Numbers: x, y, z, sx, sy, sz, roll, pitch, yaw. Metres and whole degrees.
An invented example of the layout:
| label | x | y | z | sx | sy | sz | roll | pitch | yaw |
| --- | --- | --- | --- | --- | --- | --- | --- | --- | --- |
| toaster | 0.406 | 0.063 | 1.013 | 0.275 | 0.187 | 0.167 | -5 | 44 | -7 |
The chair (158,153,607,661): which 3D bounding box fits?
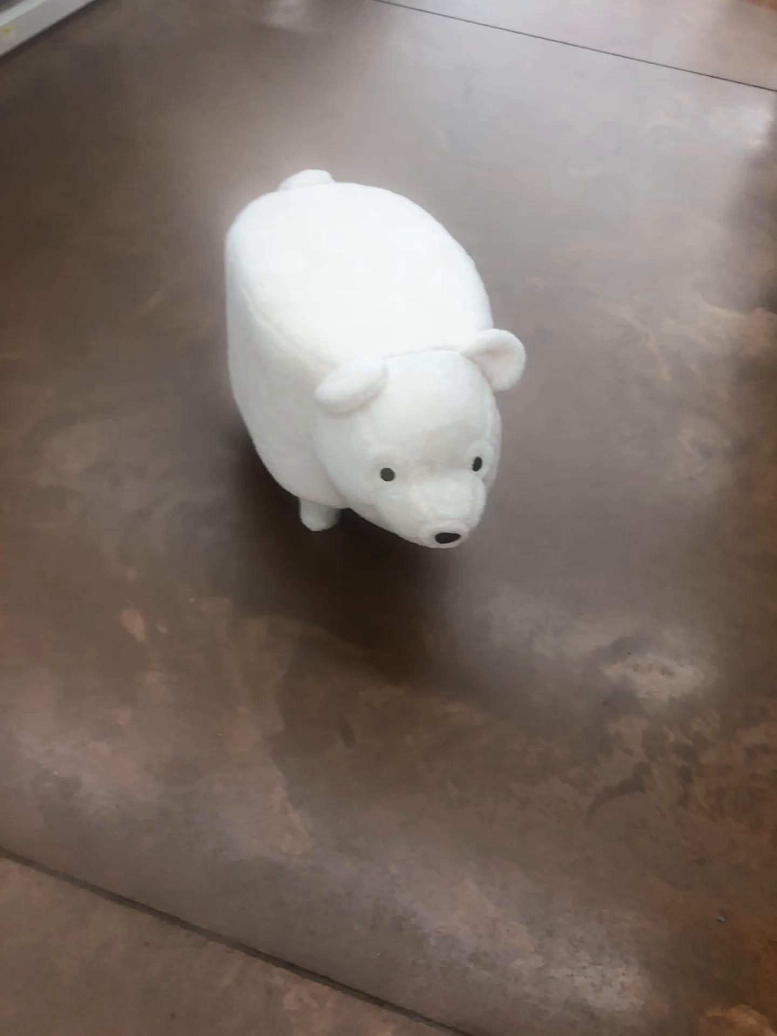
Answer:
| label | x | y | z | sx | sy | sz | roll | pitch | yaw |
| --- | --- | --- | --- | --- | --- | --- | --- | --- | --- |
| chair | -0.063 | -0.192 | 1.218 | 0.440 | 0.349 | 0.632 | -7 | 50 | -13 |
